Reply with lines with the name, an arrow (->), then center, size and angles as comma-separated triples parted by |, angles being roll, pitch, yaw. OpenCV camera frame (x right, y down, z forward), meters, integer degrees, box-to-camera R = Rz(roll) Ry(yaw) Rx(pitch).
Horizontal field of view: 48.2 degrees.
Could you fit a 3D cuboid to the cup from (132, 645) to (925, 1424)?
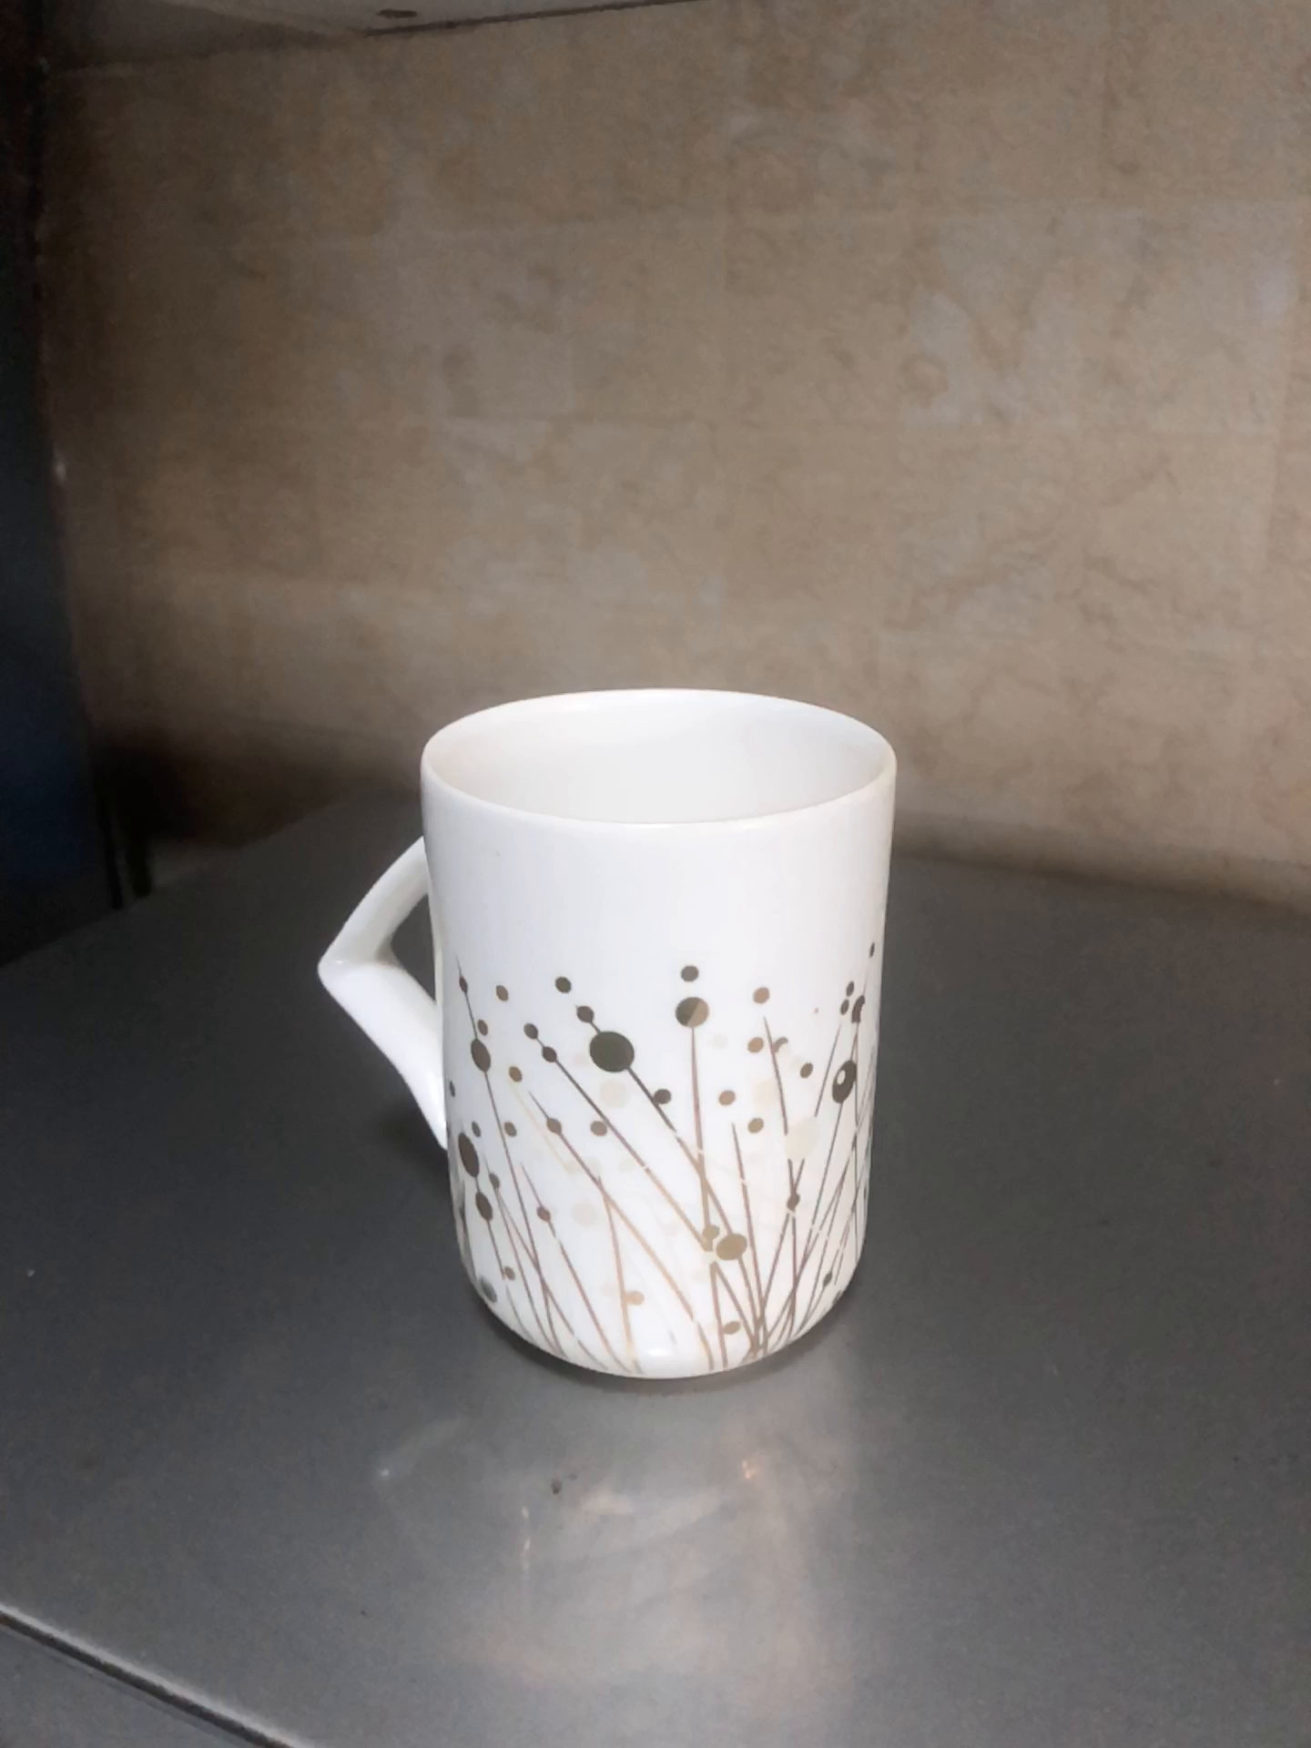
cup -> -0.013, 0.020, 0.254 | 0.110, 0.099, 0.080 | 4, 21, 11
